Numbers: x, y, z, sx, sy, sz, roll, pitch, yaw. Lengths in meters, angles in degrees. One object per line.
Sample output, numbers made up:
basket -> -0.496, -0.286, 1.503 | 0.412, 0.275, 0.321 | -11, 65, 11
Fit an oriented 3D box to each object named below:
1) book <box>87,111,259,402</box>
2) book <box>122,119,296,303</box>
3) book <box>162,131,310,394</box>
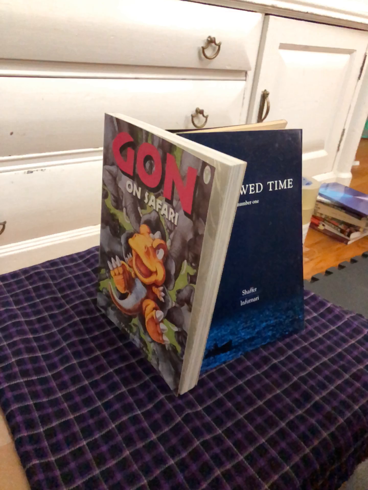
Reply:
book -> -0.025, 0.005, 0.326 | 0.020, 0.189, 0.140 | -11, 32, -42
book -> 0.019, -0.029, 0.406 | 0.140, 0.199, 0.010 | -19, 56, -37
book -> 0.056, 0.007, 0.354 | 0.150, 0.199, 0.010 | -14, 14, -36
